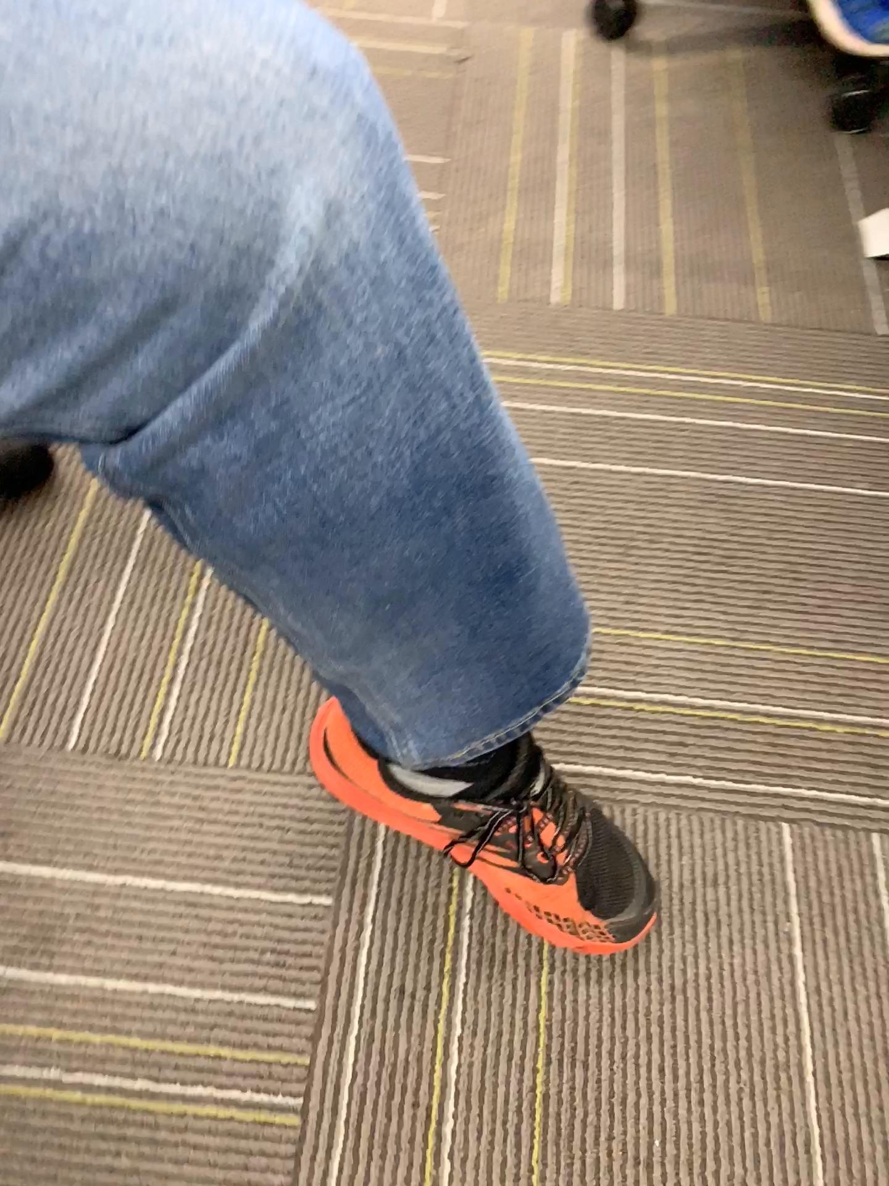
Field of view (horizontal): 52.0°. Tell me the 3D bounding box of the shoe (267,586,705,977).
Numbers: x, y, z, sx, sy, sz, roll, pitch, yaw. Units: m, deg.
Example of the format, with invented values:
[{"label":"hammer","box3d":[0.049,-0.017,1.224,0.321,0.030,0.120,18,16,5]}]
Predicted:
[{"label":"shoe","box3d":[0.038,0.155,0.715,0.314,0.106,0.126,39,54,-10]}]
